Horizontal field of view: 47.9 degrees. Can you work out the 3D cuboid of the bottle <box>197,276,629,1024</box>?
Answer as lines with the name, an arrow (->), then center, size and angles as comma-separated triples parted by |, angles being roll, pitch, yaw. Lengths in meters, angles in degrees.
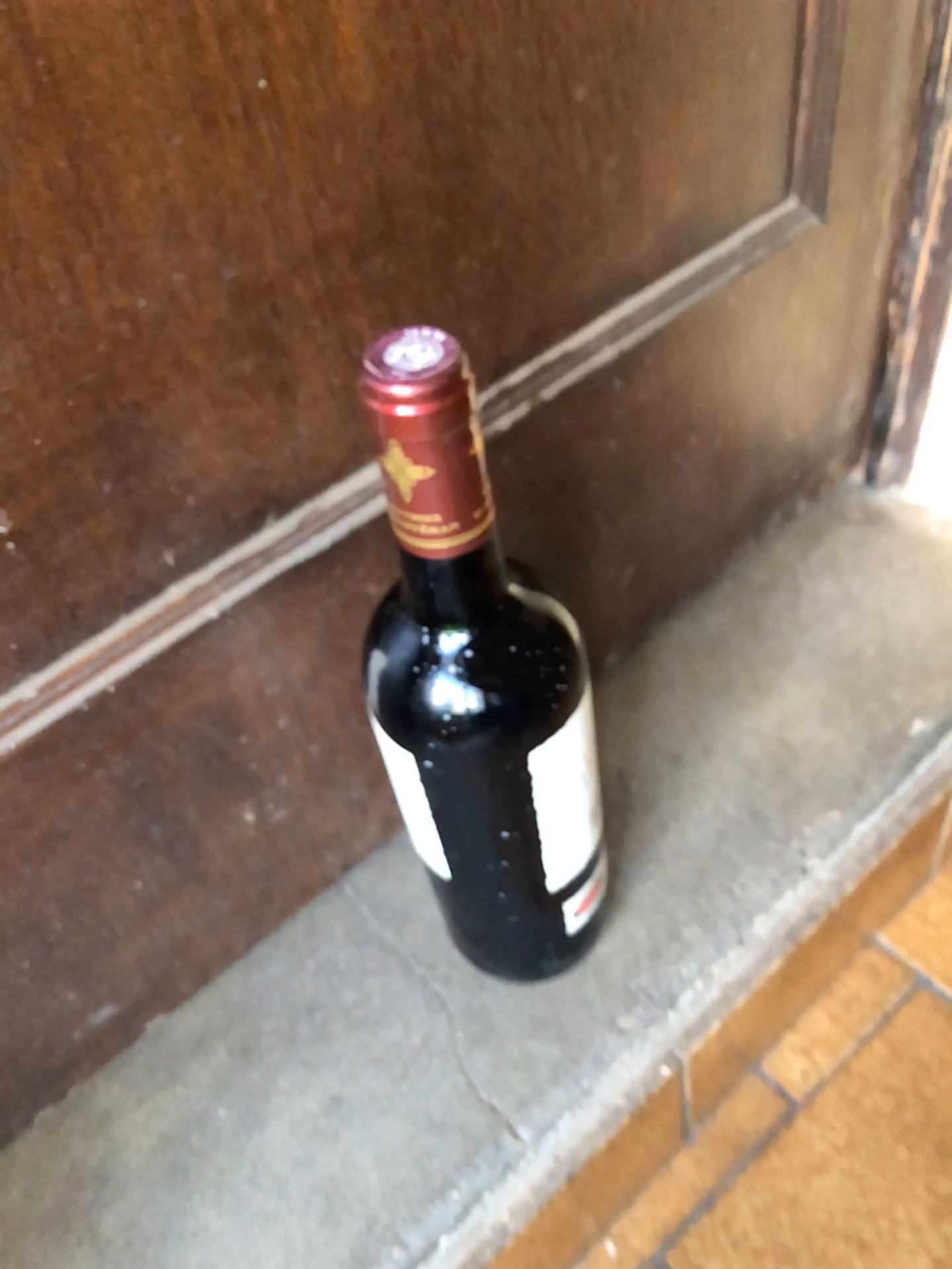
bottle -> 0.004, 0.031, 0.352 | 0.080, 0.278, 0.081 | -5, 48, 6
